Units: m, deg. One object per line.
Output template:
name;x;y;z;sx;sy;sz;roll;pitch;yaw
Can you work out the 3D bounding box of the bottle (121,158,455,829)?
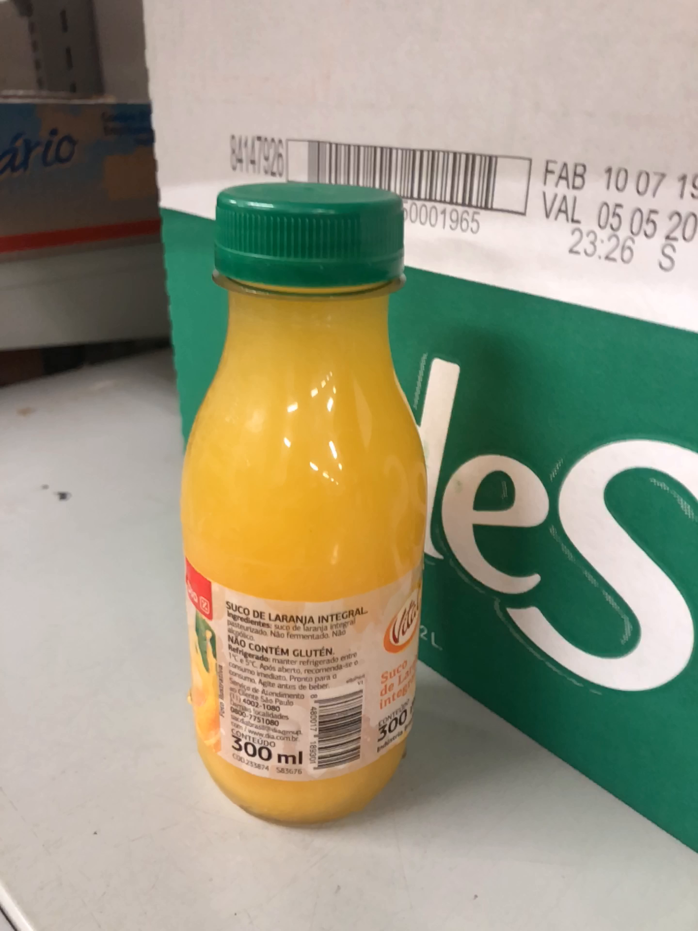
bottle;-0.012;0.007;0.206;0.060;0.159;0.071;-2;25;-3
